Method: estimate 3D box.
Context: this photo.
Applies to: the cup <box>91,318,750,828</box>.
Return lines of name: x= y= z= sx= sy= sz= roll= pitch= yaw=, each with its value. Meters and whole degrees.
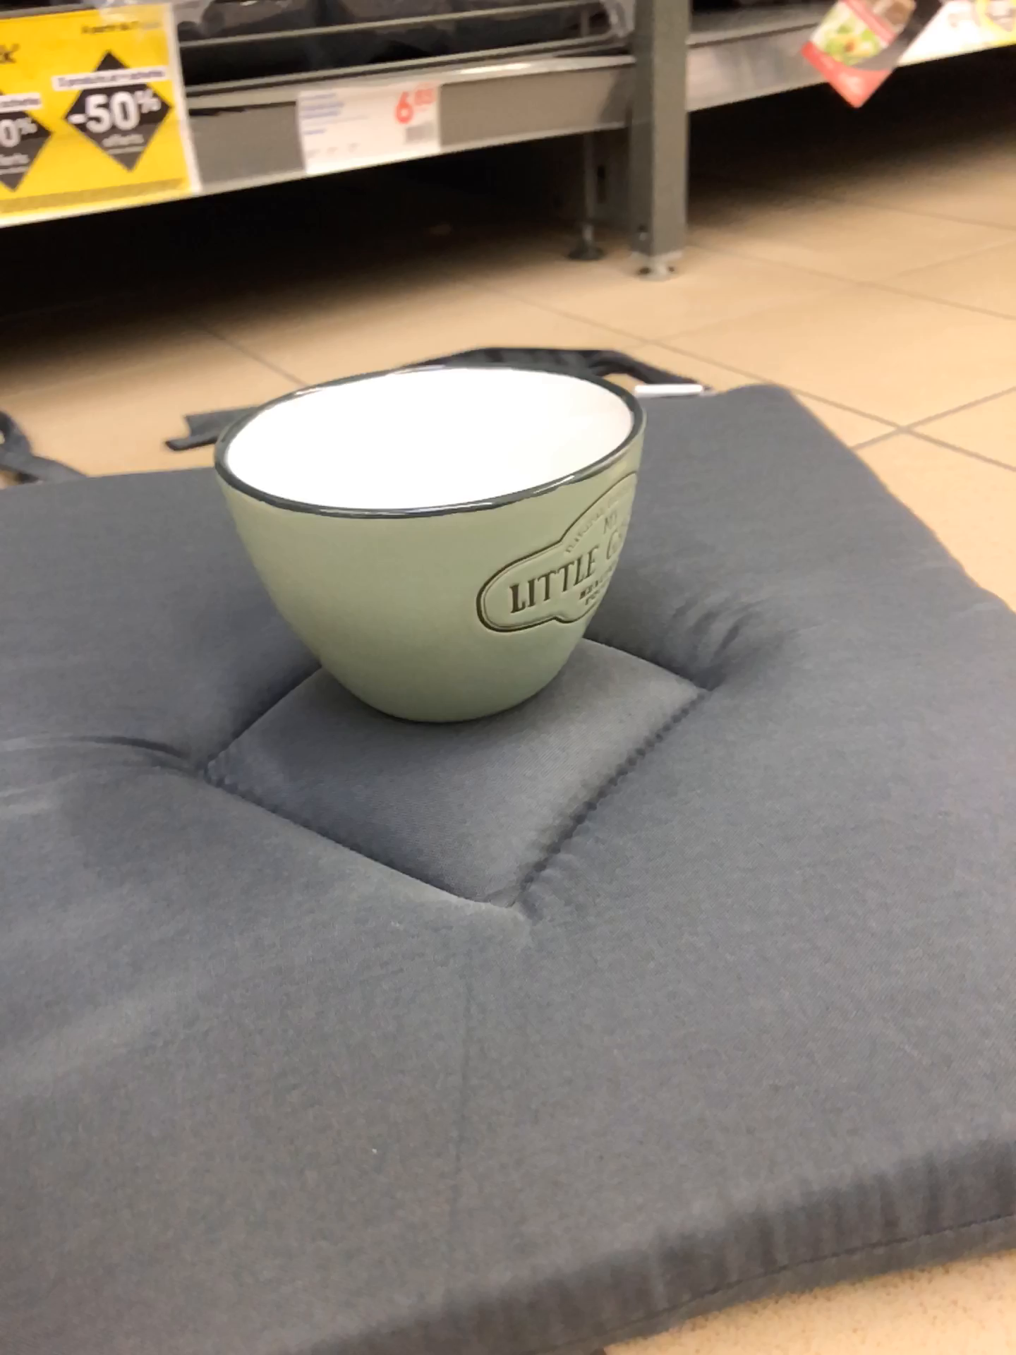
cup: x=-0.016 y=-0.043 z=0.326 sx=0.120 sy=0.070 sz=0.141 roll=17 pitch=38 yaw=28
